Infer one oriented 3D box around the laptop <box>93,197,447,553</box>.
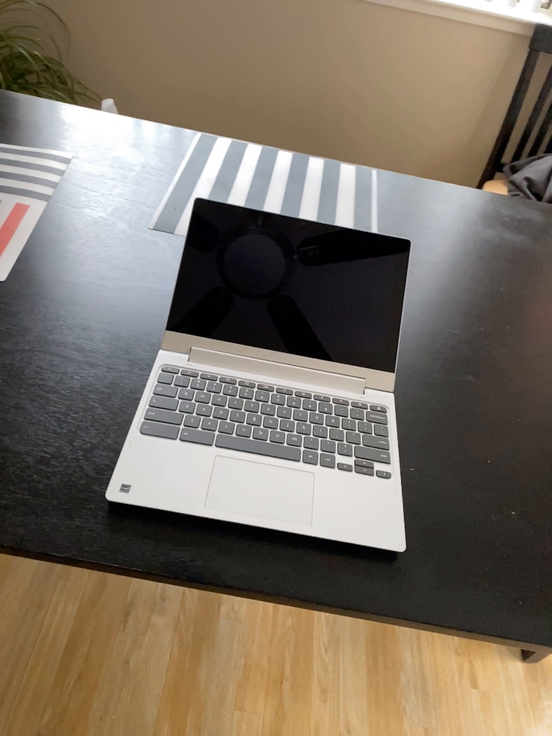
[{"bbox_3d":[0.007,-0.022,0.617,0.285,0.106,0.382,11,44,-3],"label":"laptop"}]
